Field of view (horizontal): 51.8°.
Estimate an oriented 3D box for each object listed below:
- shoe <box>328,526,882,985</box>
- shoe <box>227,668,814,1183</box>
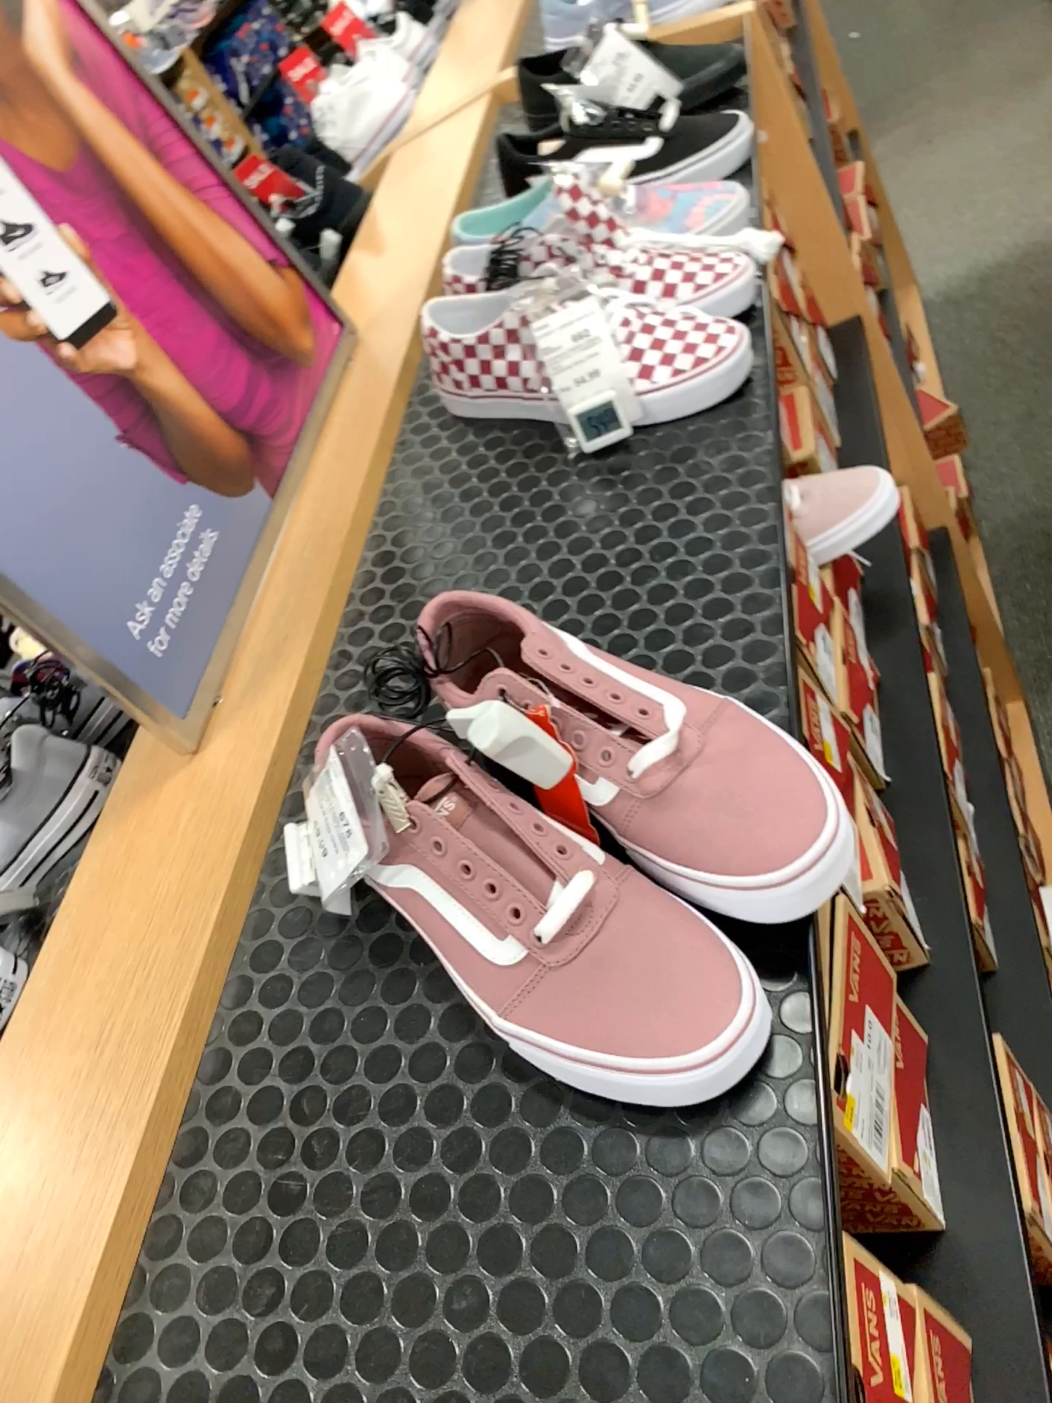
[{"bbox_3d":[0.029,0.014,0.547,0.262,0.099,0.100,30,74,43],"label":"shoe"},{"bbox_3d":[-0.013,0.091,0.512,0.262,0.099,0.100,26,71,42],"label":"shoe"}]
